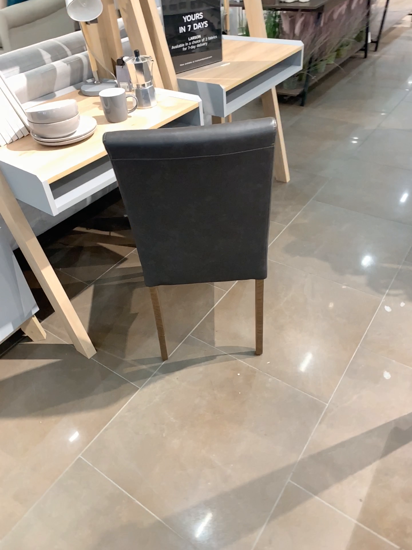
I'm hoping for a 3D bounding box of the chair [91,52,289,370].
[{"bbox_3d":[-0.016,-0.204,1.478,0.456,0.887,0.610,-4,40,1],"label":"chair"}]
